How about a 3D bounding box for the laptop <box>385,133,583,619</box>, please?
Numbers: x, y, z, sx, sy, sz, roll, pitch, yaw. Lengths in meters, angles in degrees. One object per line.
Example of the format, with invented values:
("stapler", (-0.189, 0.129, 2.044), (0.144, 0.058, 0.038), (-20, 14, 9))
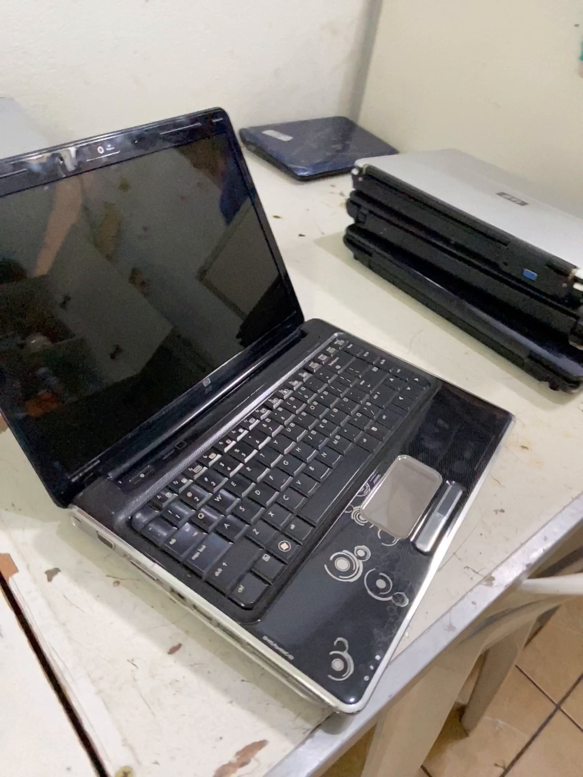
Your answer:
("laptop", (0.348, -0.064, 0.560), (0.372, 0.175, 0.332), (30, 43, 23))
